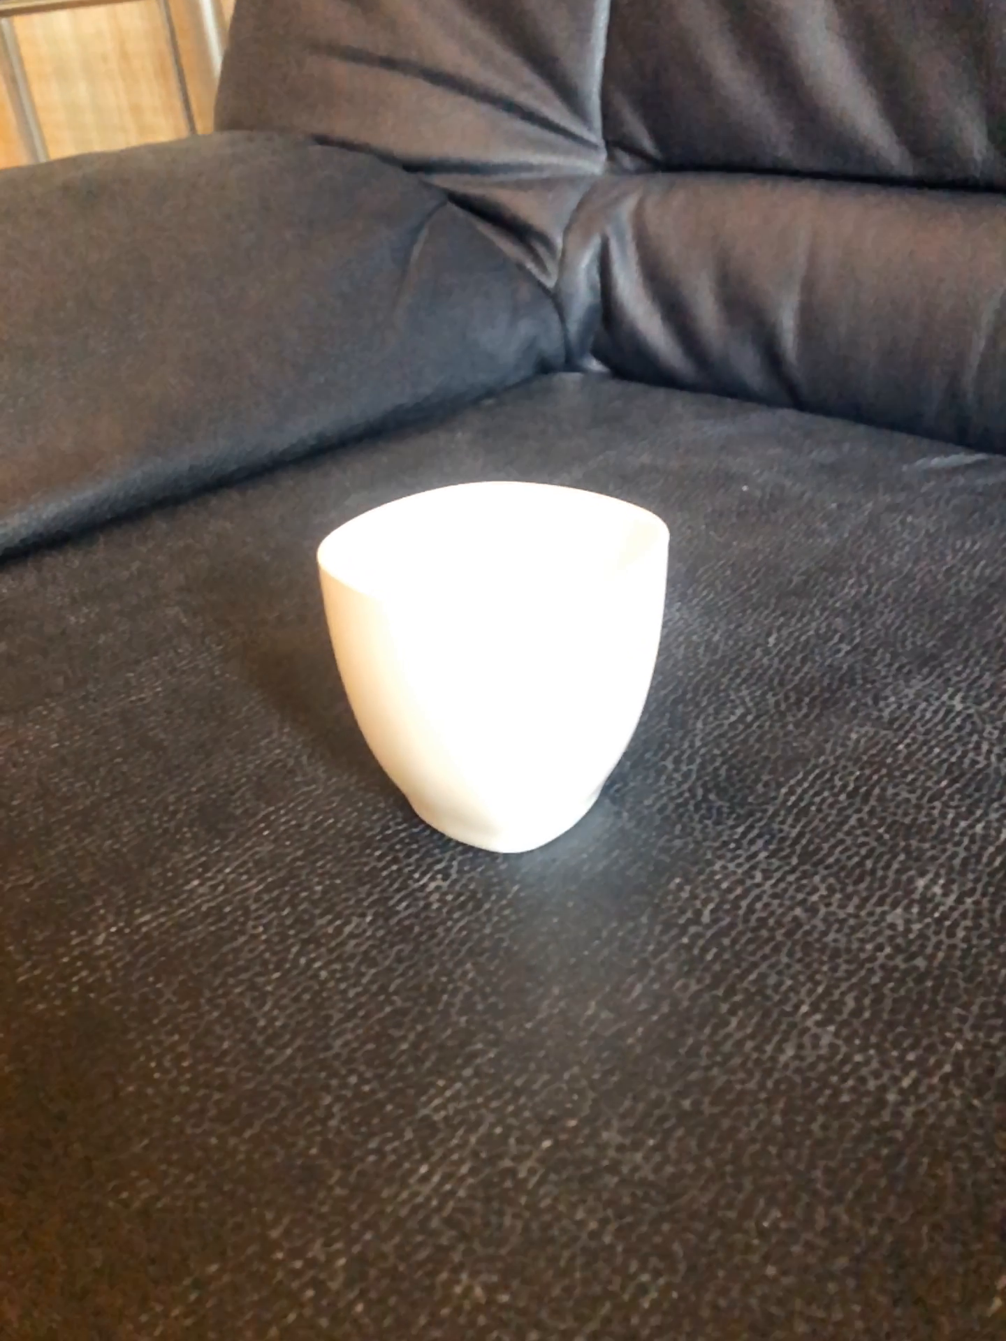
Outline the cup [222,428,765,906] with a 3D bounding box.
[{"bbox_3d":[0.001,-0.009,0.278,0.101,0.063,0.080,-28,38,-36],"label":"cup"}]
